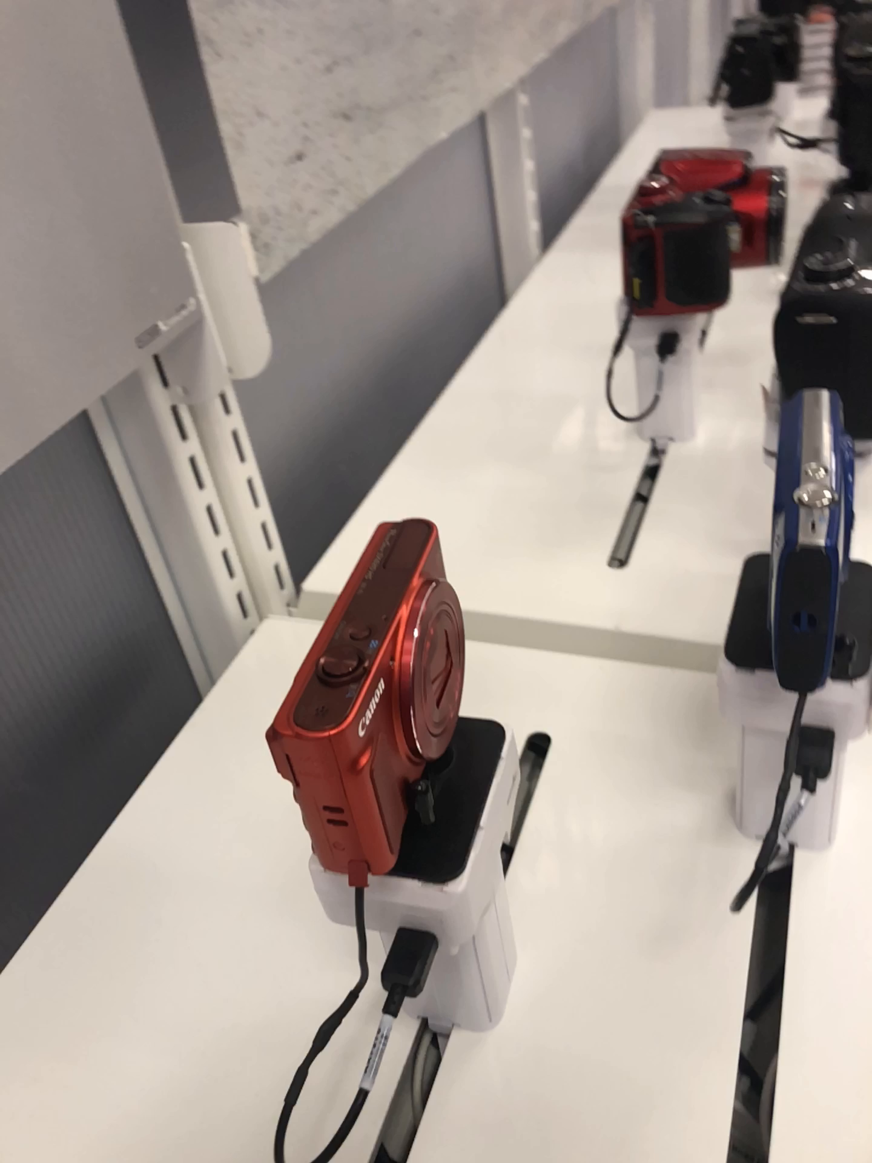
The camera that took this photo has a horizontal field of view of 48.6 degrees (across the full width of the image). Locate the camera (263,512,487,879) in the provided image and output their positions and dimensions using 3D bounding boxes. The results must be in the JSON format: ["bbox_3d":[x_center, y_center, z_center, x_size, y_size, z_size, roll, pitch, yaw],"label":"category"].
[{"bbox_3d":[-0.012,0.028,0.281,0.028,0.052,0.096,2,37,17],"label":"camera"}]
